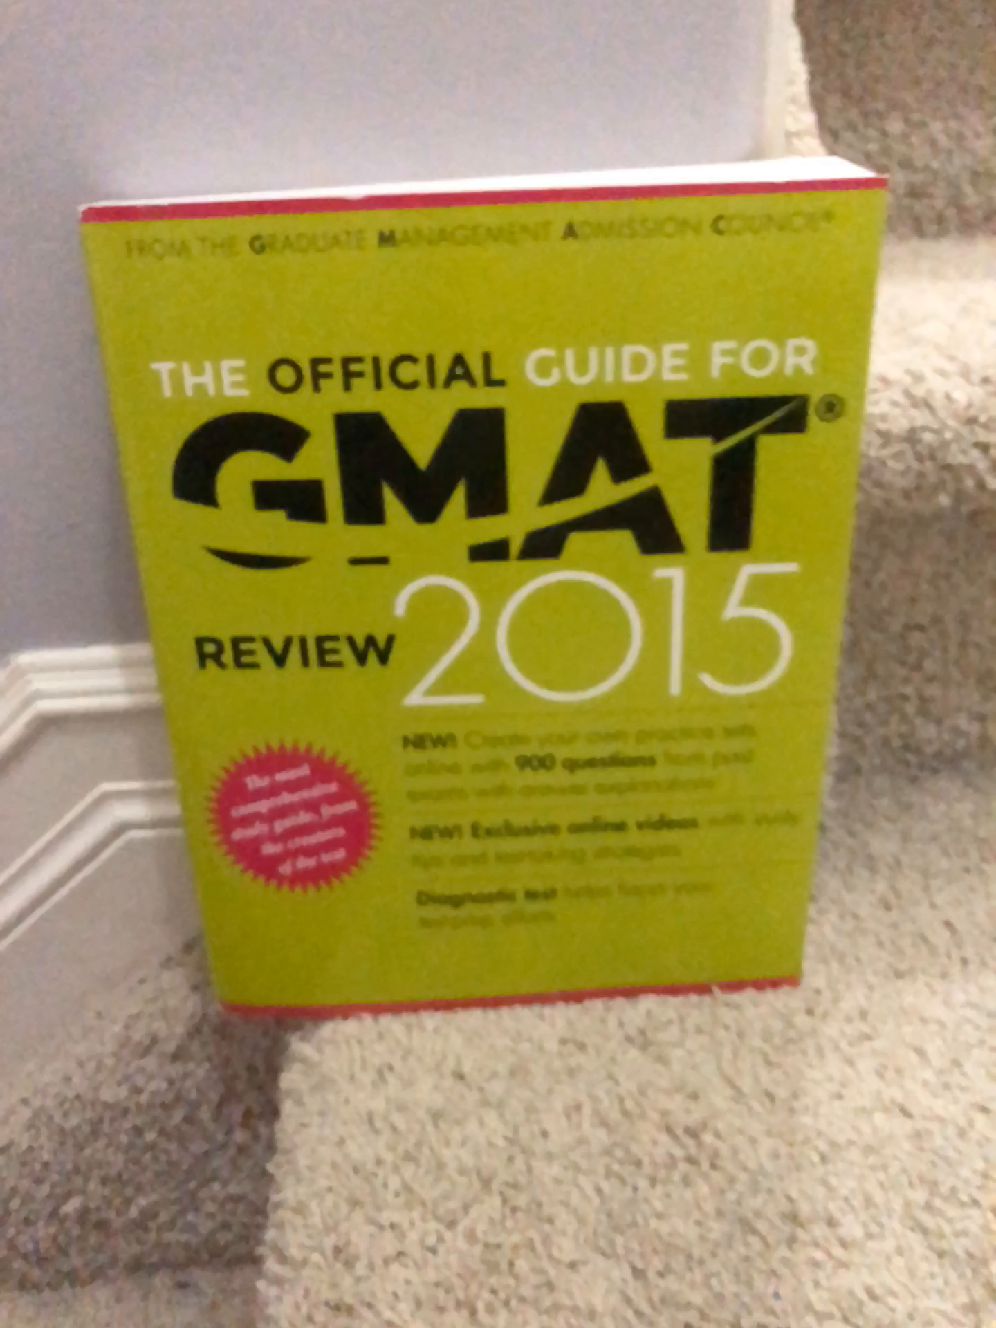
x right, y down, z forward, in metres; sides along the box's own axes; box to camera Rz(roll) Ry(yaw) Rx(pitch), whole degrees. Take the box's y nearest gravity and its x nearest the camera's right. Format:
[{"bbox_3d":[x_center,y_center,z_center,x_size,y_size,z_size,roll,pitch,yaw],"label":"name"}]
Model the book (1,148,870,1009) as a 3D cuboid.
[{"bbox_3d":[-0.009,-0.014,0.376,0.235,0.277,0.040,-4,24,0],"label":"book"}]
